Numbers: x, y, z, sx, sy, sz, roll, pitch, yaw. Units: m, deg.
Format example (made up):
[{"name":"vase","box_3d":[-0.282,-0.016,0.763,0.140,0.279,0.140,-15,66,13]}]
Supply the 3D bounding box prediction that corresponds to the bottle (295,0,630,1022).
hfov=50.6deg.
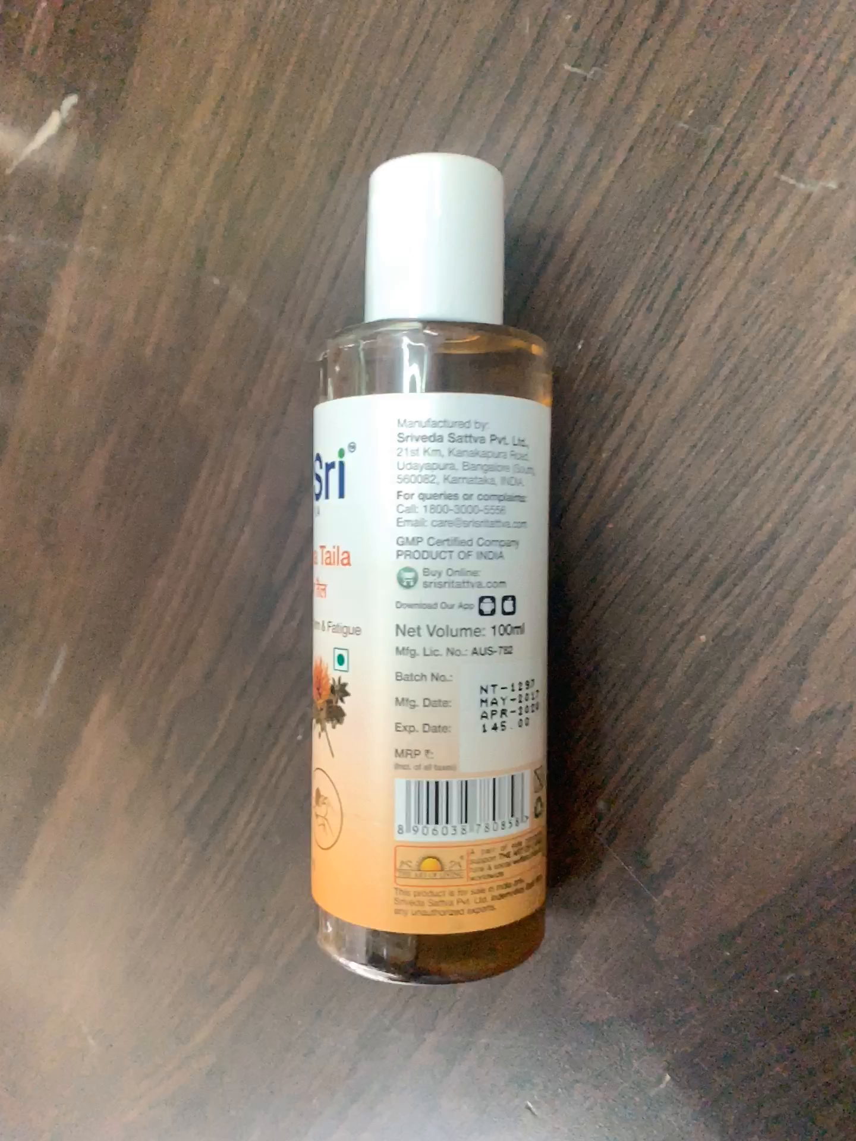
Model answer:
[{"name":"bottle","box_3d":[0.004,-0.010,0.148,0.040,0.040,0.140,1,92,64]}]
